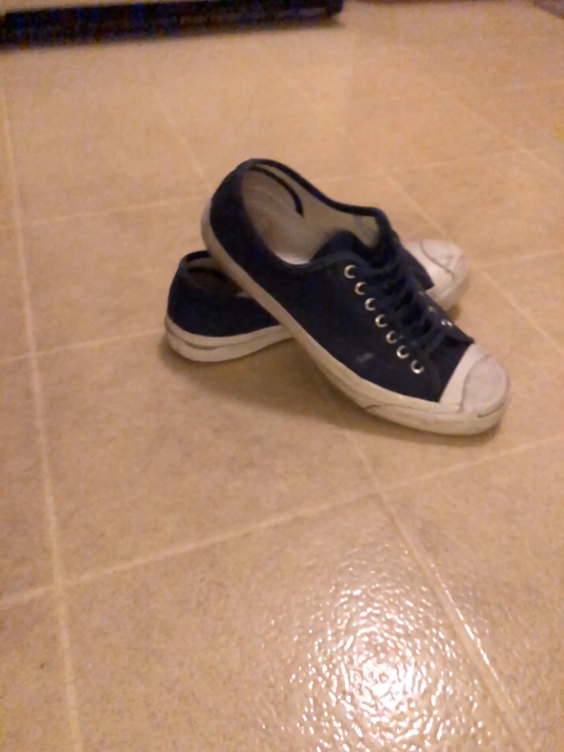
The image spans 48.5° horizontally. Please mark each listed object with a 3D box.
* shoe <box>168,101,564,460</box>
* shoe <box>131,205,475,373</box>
[{"bbox_3d":[0.059,-0.068,0.497,0.290,0.100,0.100,37,68,0],"label":"shoe"},{"bbox_3d":[0.017,-0.089,0.582,0.290,0.079,0.111,-8,49,-21],"label":"shoe"}]
